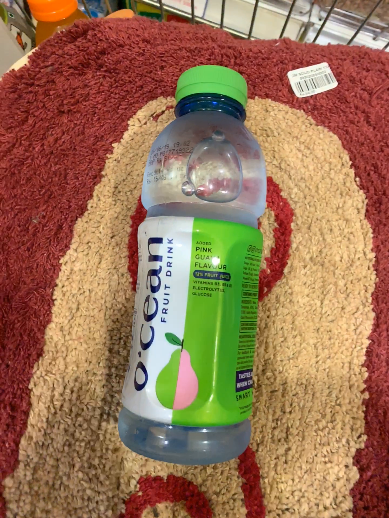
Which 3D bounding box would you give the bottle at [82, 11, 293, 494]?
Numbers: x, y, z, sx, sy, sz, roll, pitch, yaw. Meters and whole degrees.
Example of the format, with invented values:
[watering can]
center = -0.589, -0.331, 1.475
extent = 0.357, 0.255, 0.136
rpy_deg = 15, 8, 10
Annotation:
[bottle]
center = 0.004, -0.007, 0.217
extent = 0.080, 0.070, 0.210
rpy_deg = 4, 85, 16
